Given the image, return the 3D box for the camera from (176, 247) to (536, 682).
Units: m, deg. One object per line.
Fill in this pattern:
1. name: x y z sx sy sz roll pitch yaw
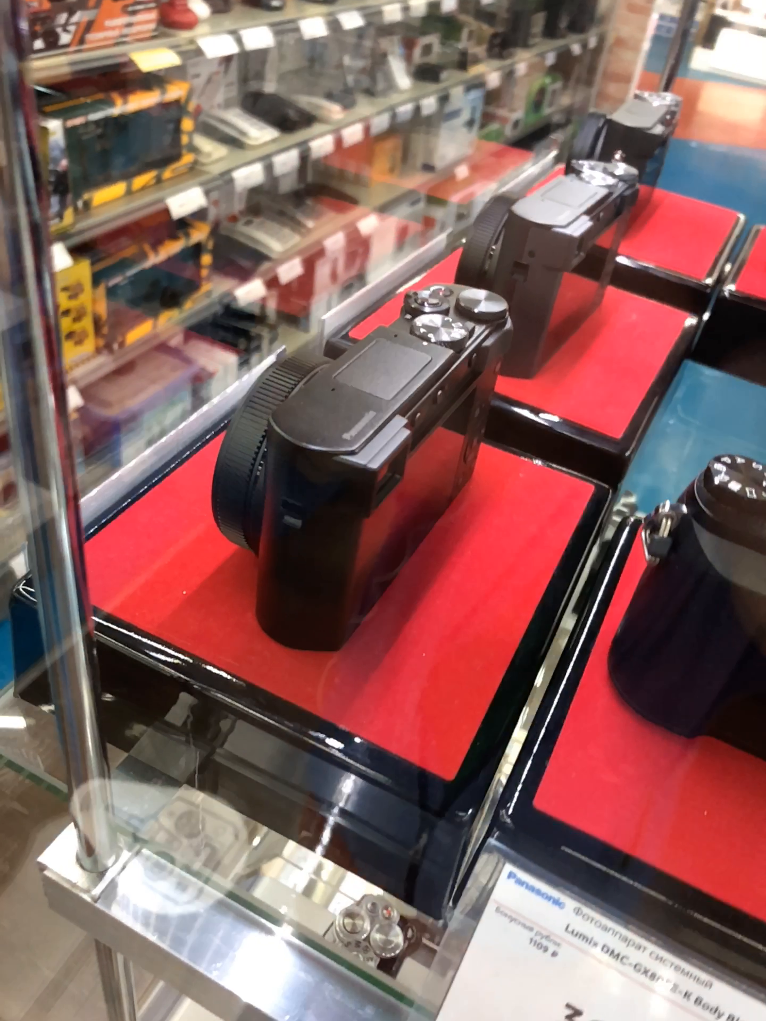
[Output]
1. camera: -0.005 -0.020 0.249 0.052 0.070 0.110 22 40 16

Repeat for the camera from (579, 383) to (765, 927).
1. camera: 0.112 0.030 0.200 0.102 0.076 0.054 22 40 16

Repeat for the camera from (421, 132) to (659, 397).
1. camera: 0.073 -0.117 0.390 0.055 0.076 0.114 24 40 18
